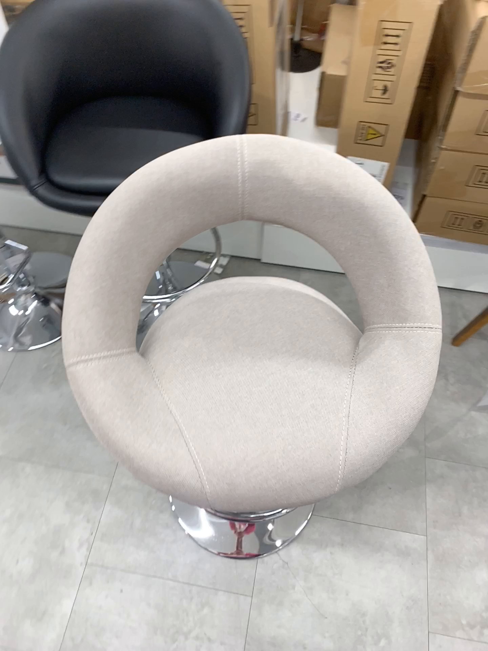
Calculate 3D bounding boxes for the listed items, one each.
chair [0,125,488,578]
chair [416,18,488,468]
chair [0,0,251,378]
[{"bbox_3d":[0.022,0.177,0.997,0.566,0.965,0.486,-1,58,-1],"label":"chair"},{"bbox_3d":[0.865,-0.122,1.234,0.516,0.866,0.546,19,60,12],"label":"chair"},{"bbox_3d":[-0.250,-0.291,1.331,0.516,0.935,0.486,2,58,1],"label":"chair"}]
